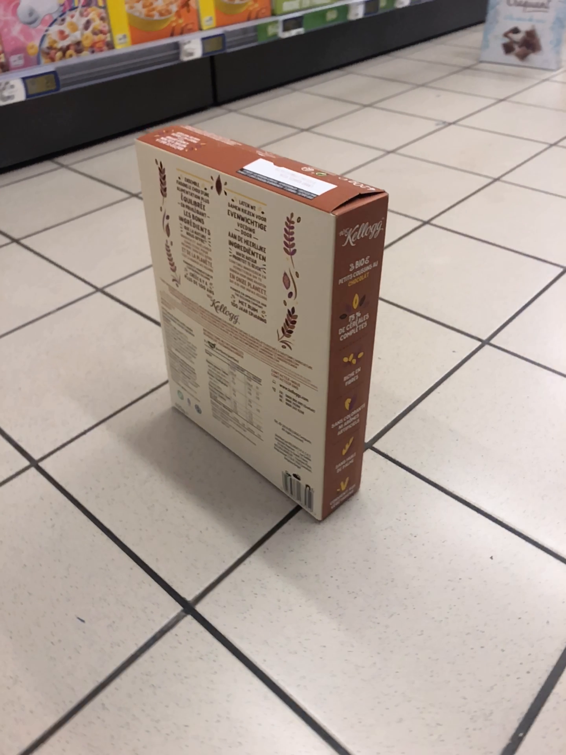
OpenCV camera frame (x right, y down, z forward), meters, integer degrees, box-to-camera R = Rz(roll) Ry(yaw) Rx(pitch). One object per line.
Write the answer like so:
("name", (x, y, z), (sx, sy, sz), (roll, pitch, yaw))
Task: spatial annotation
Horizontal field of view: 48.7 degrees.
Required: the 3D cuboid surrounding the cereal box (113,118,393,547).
("cereal box", (-0.029, -0.032, 0.450), (0.050, 0.248, 0.200), (-28, 45, -34))
